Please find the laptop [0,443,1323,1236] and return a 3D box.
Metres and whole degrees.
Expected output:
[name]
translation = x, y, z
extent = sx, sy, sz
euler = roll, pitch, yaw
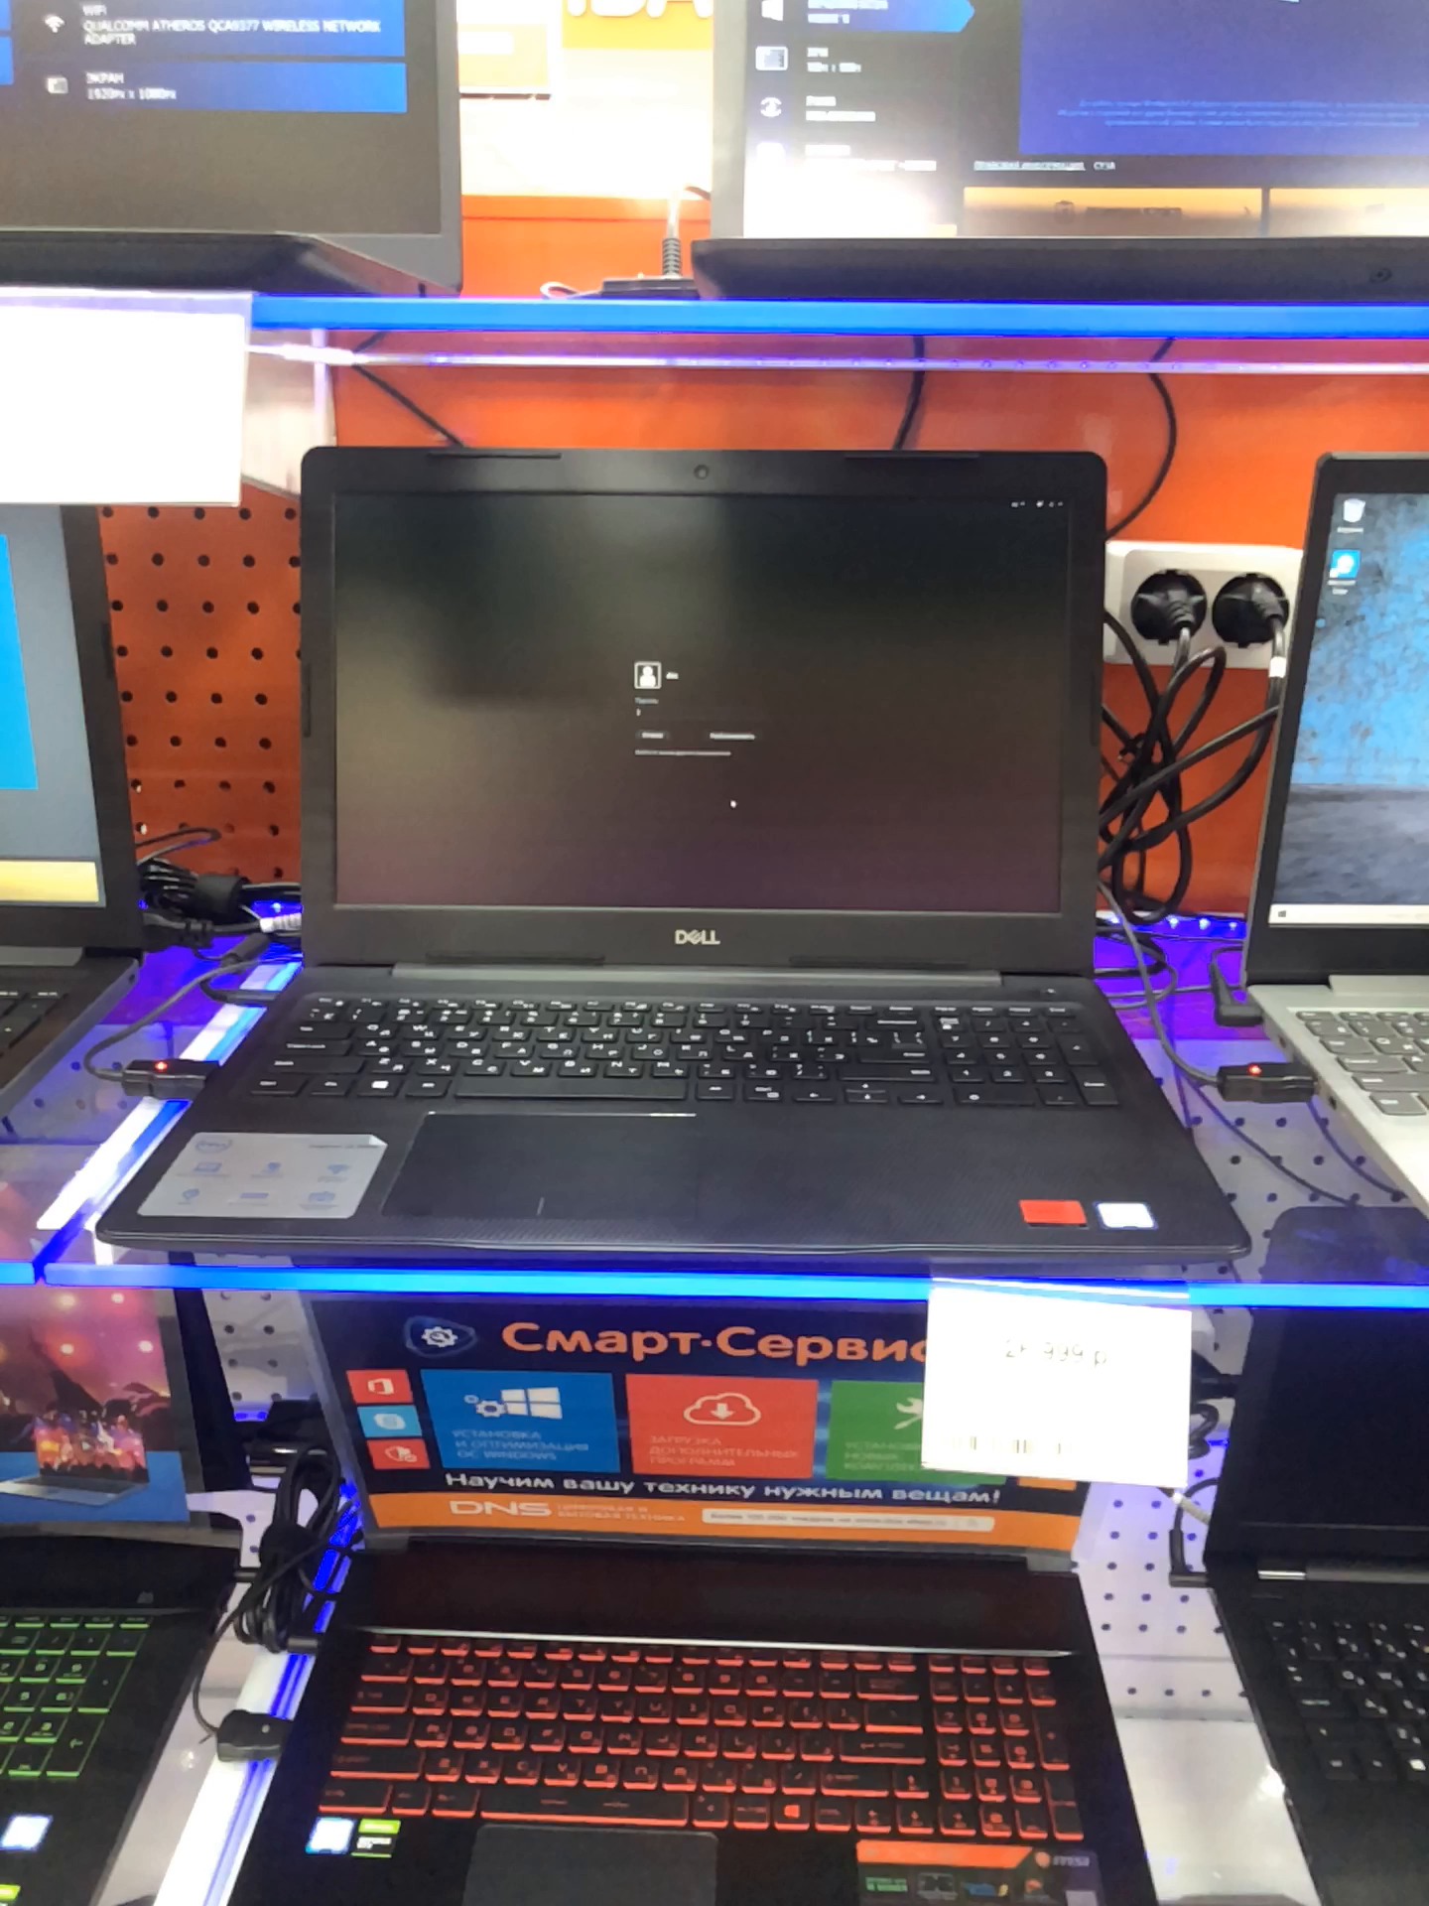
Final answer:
[laptop]
translation = -0.018, -0.074, 0.621
extent = 0.373, 0.233, 0.317
euler = 1, 18, 0
